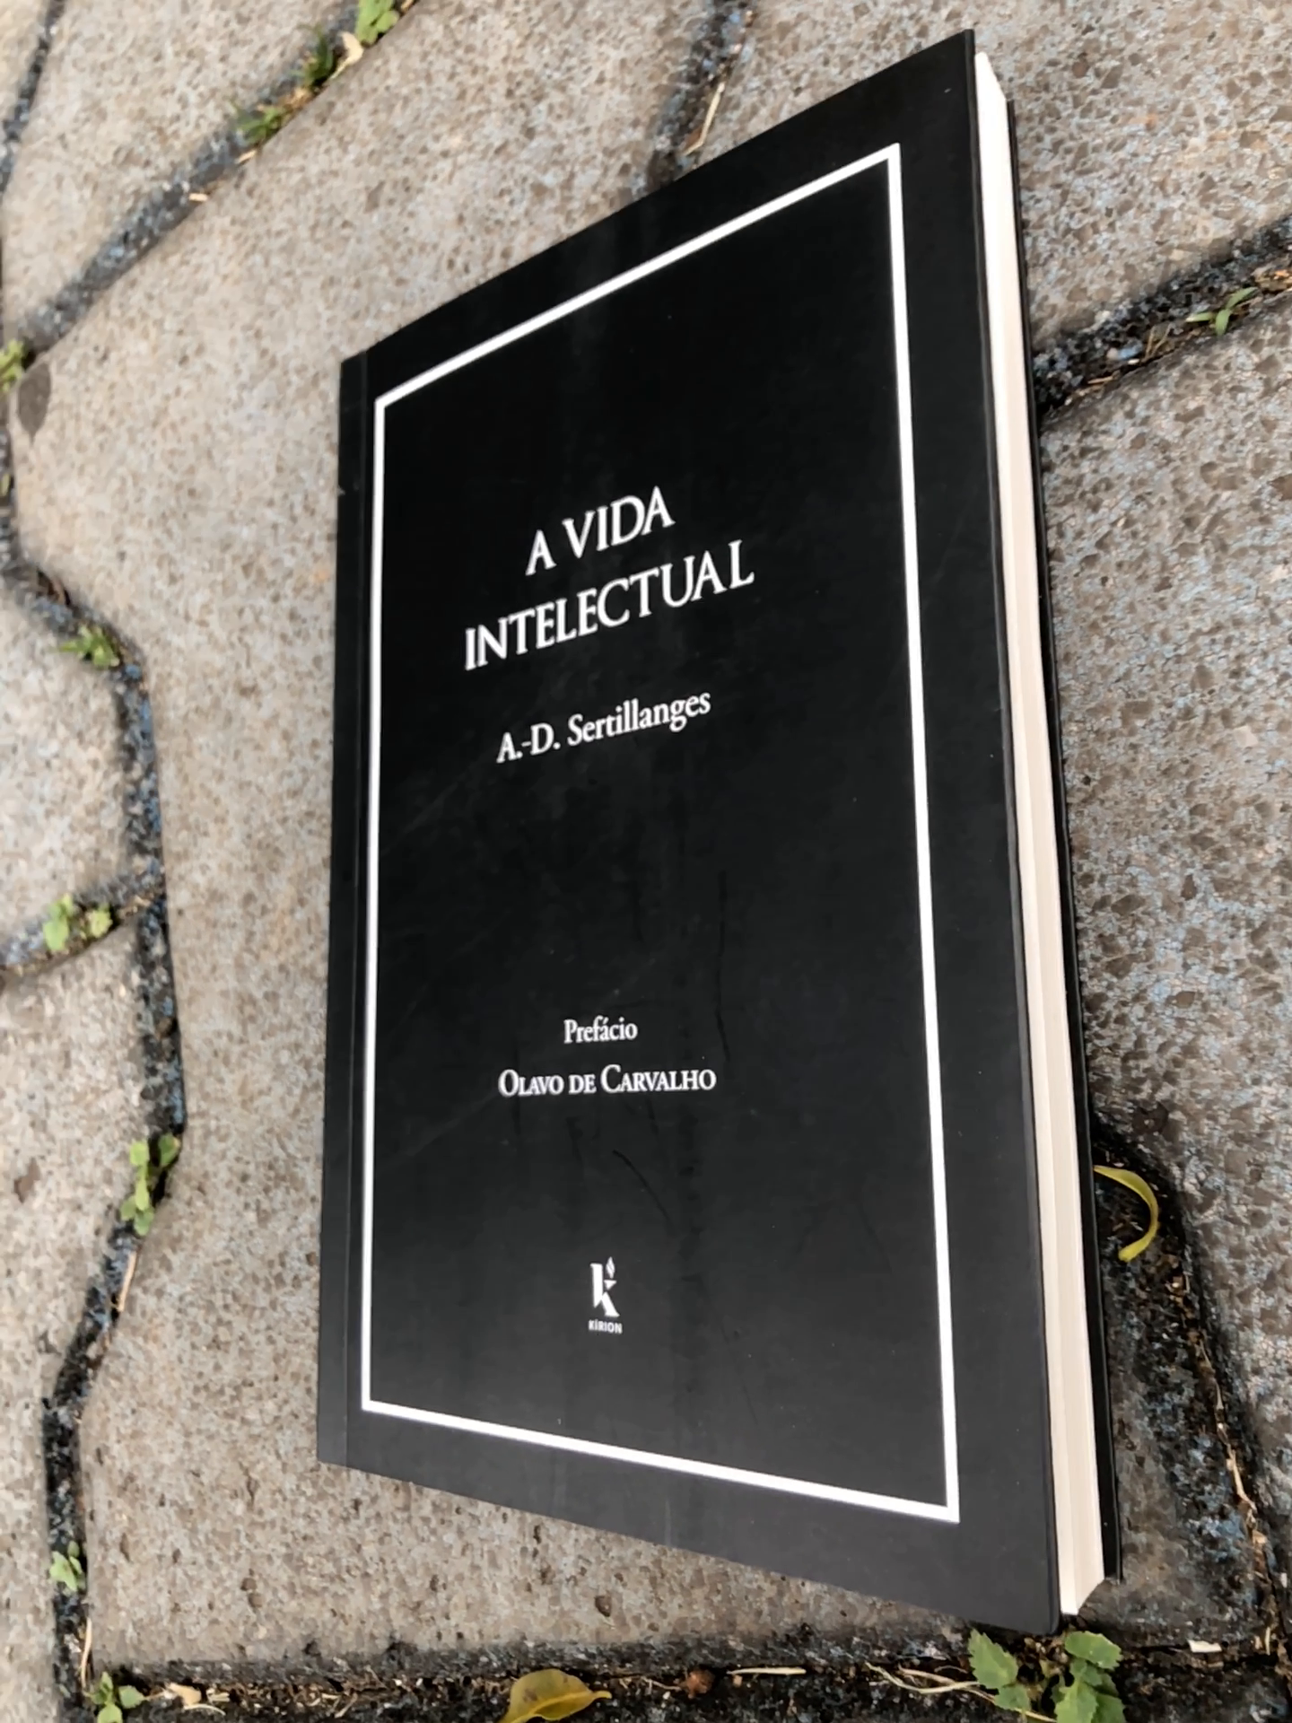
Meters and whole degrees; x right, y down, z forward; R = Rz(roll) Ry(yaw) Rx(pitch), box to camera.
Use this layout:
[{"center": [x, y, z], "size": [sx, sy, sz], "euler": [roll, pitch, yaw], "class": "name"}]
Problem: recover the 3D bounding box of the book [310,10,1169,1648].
[{"center": [0.001, -0.004, 0.221], "size": [0.136, 0.020, 0.196], "euler": [-9, 77, 40], "class": "book"}]
